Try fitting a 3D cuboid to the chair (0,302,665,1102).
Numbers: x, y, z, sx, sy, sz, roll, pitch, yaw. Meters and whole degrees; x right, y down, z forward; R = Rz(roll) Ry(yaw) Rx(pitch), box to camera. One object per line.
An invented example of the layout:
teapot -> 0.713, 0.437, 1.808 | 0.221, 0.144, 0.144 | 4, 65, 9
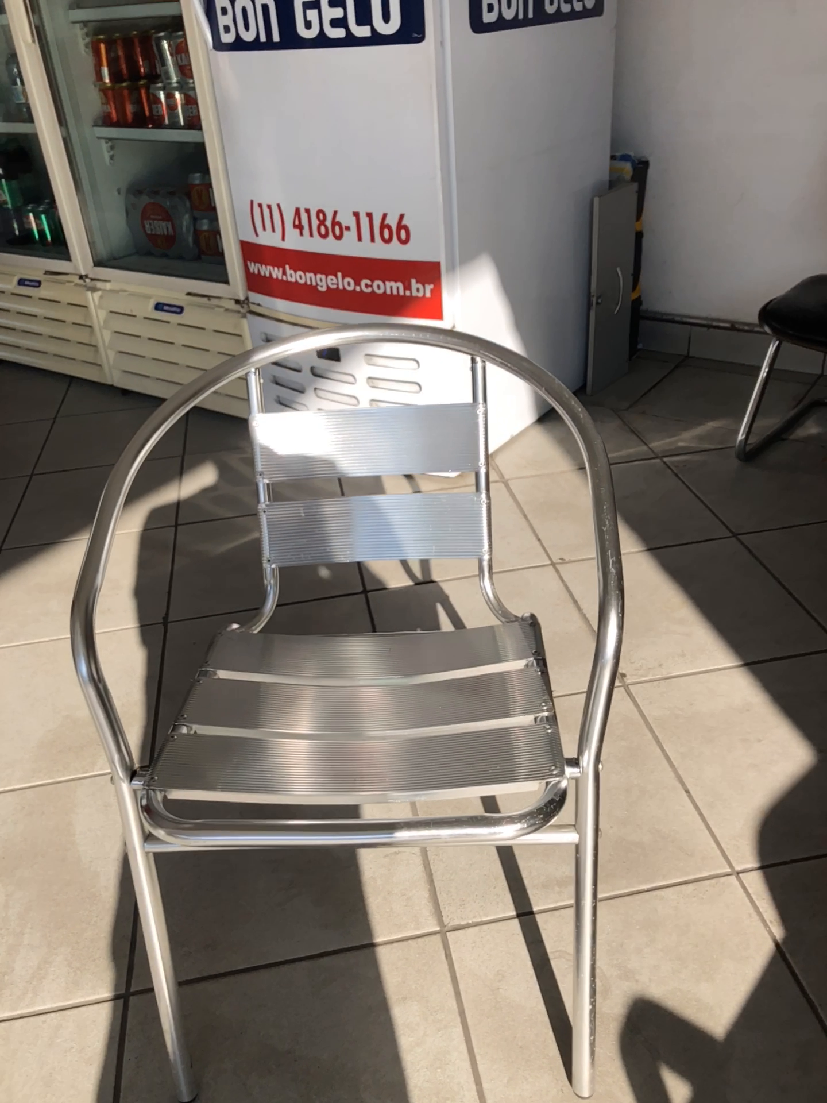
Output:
chair -> -0.052, 0.155, 1.096 | 0.520, 0.705, 0.634 | -3, 30, 3
